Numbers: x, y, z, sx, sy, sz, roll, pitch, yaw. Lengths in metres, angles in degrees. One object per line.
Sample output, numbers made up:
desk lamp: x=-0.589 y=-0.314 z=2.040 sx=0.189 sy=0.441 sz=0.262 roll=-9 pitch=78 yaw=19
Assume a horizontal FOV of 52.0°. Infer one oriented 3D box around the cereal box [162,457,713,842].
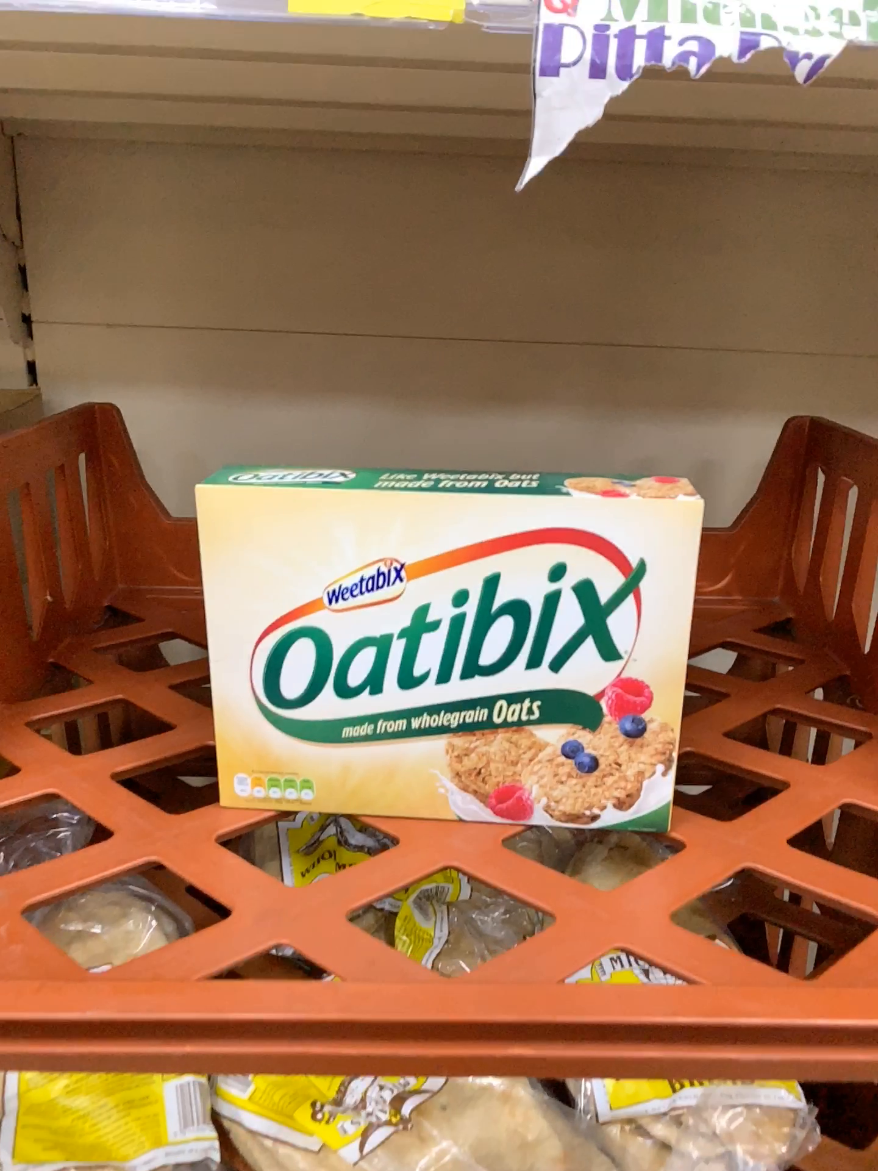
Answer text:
cereal box: x=-0.003 y=0.031 z=0.484 sx=0.260 sy=0.179 sz=0.070 roll=3 pitch=18 yaw=4
